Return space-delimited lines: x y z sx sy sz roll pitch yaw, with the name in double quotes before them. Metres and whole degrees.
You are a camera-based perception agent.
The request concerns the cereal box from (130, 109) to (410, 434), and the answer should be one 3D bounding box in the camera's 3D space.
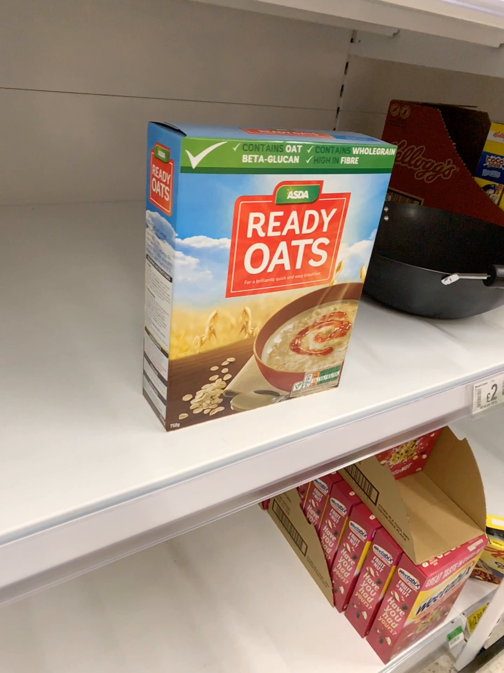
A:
"cereal box" 0.008 -0.062 0.487 0.221 0.258 0.080 -10 34 -30
